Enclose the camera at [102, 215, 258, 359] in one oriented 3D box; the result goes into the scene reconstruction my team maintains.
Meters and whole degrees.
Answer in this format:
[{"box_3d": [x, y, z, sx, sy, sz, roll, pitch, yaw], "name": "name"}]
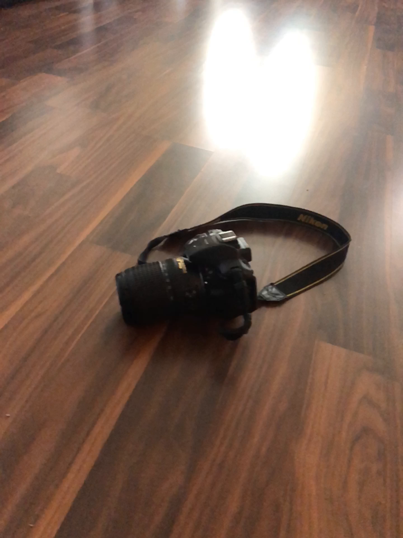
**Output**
[{"box_3d": [-0.032, 0.022, 0.614, 0.180, 0.130, 0.110, -10, 43, -12], "name": "camera"}]
